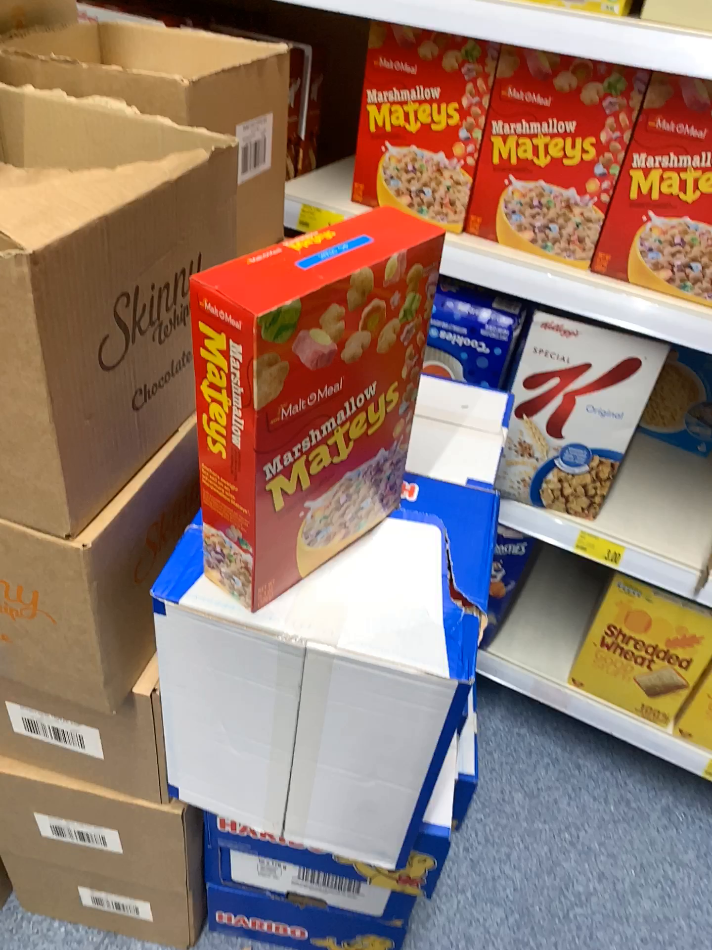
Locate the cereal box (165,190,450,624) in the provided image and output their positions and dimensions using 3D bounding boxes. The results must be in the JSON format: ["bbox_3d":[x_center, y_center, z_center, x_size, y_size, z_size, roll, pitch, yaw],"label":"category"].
[{"bbox_3d":[-0.037,-0.047,0.568,0.070,0.287,0.191,34,48,27],"label":"cereal box"}]
